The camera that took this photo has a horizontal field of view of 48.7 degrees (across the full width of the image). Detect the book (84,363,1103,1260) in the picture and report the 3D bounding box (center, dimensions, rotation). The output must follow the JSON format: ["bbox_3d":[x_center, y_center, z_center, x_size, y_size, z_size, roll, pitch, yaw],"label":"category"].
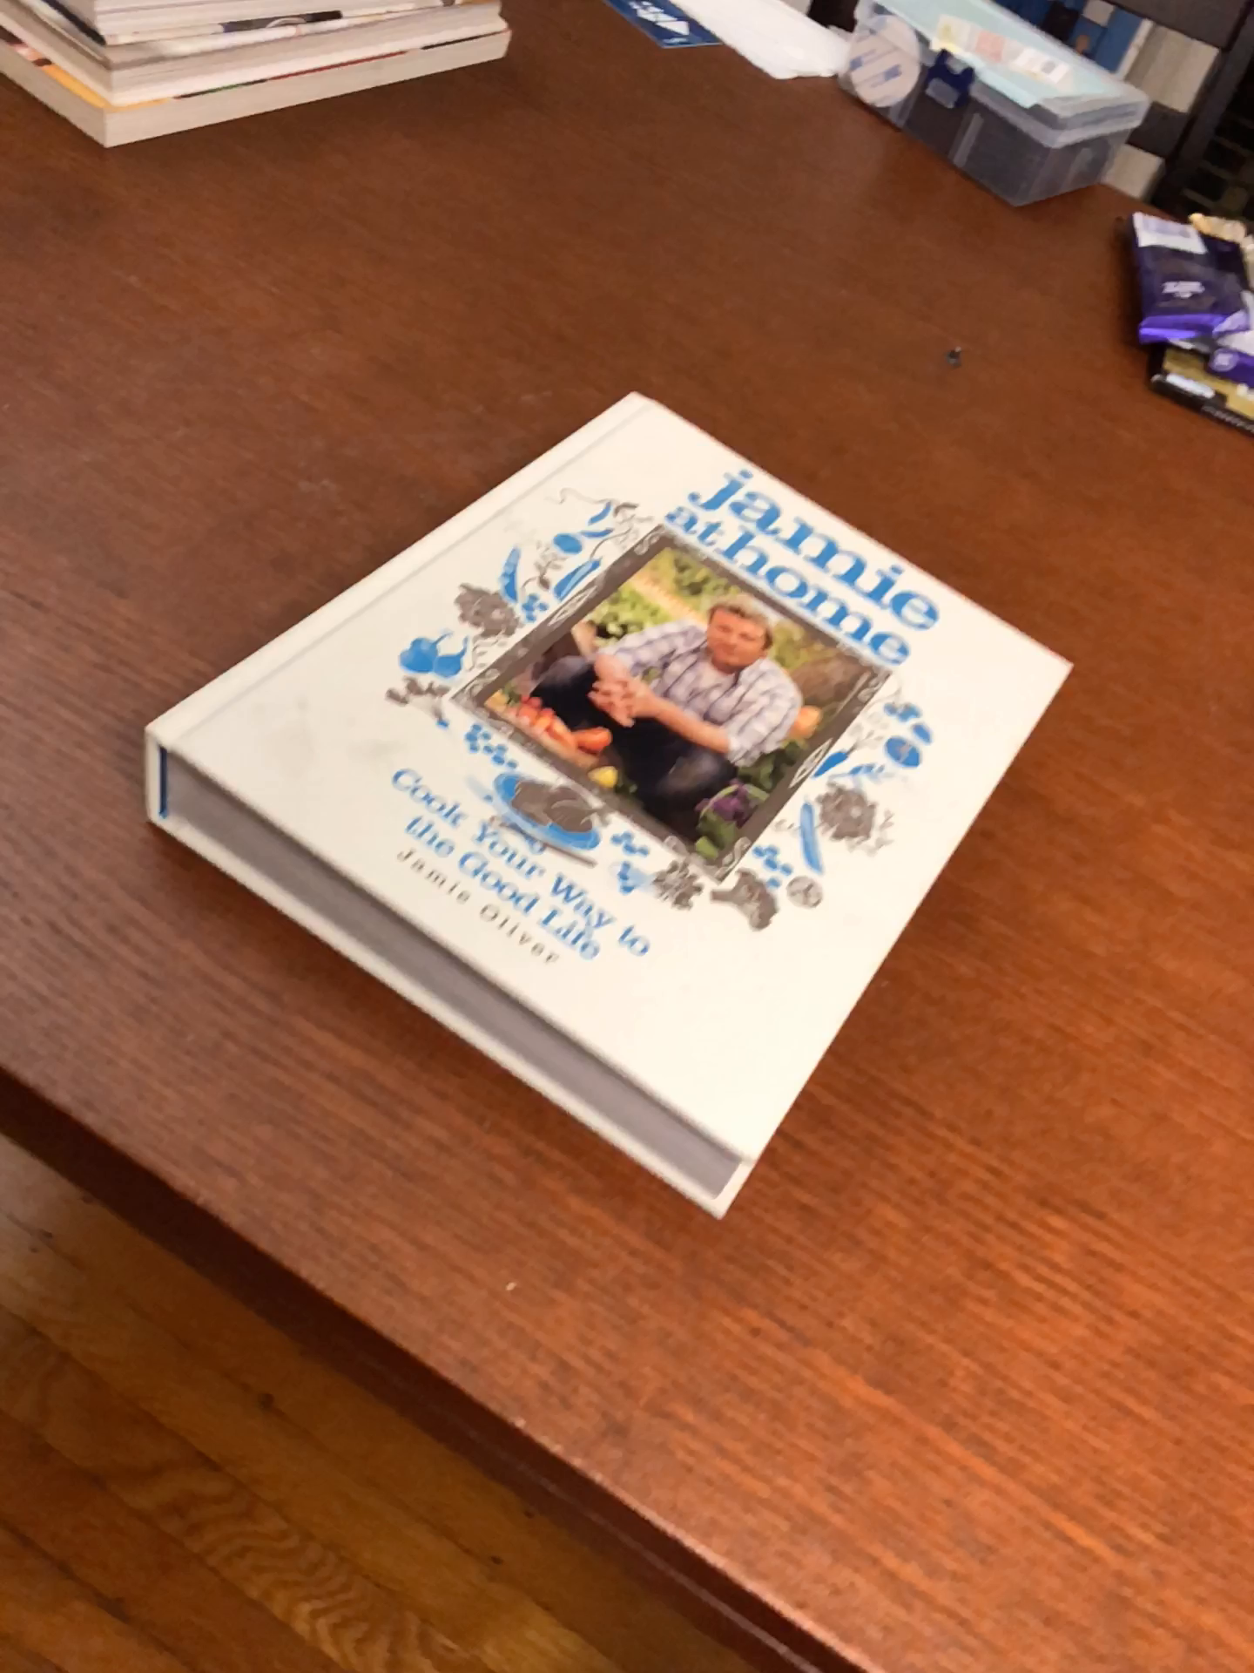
[{"bbox_3d":[0.009,-0.037,0.434,0.210,0.040,0.261,34,48,10],"label":"book"}]
